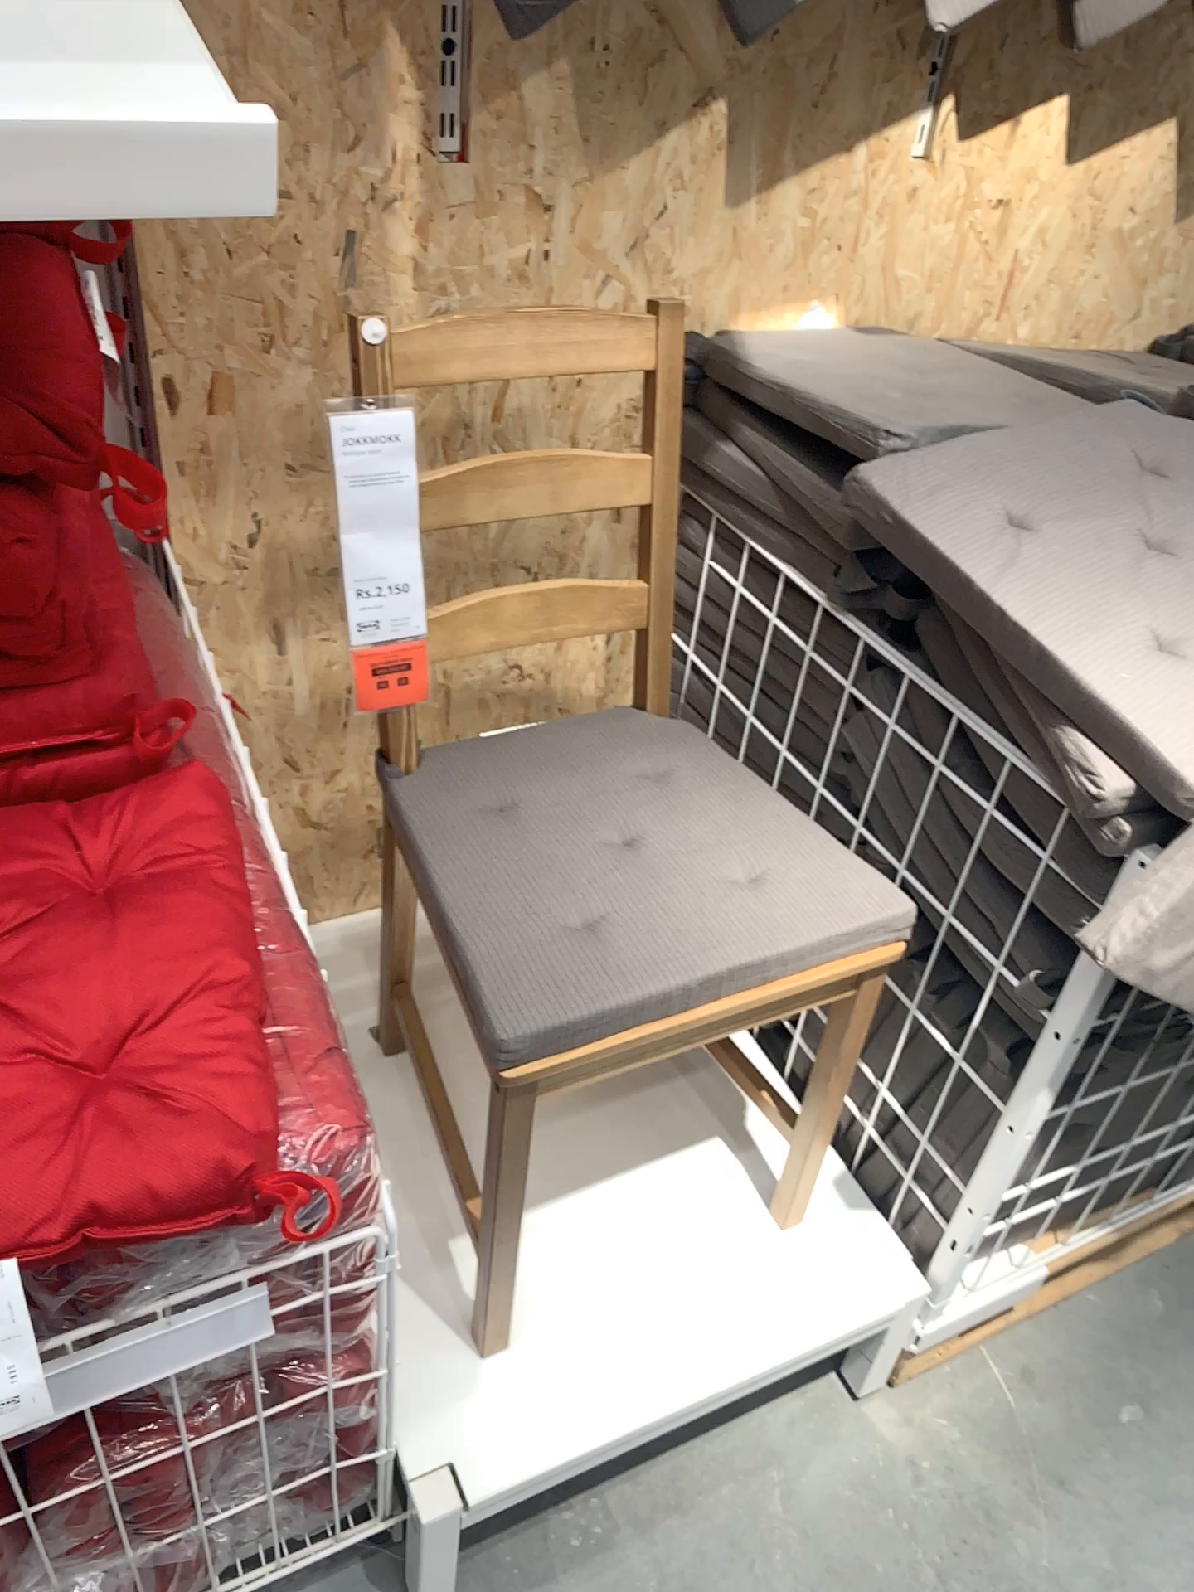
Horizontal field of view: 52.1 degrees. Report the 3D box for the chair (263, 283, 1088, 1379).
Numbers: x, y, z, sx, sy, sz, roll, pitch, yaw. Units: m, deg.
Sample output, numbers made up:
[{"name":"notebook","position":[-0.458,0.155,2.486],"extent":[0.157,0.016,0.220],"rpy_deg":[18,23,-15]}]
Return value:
[{"name":"chair","position":[-0.008,0.034,1.189],"extent":[0.440,0.866,0.502],"rpy_deg":[-13,42,-24]}]
